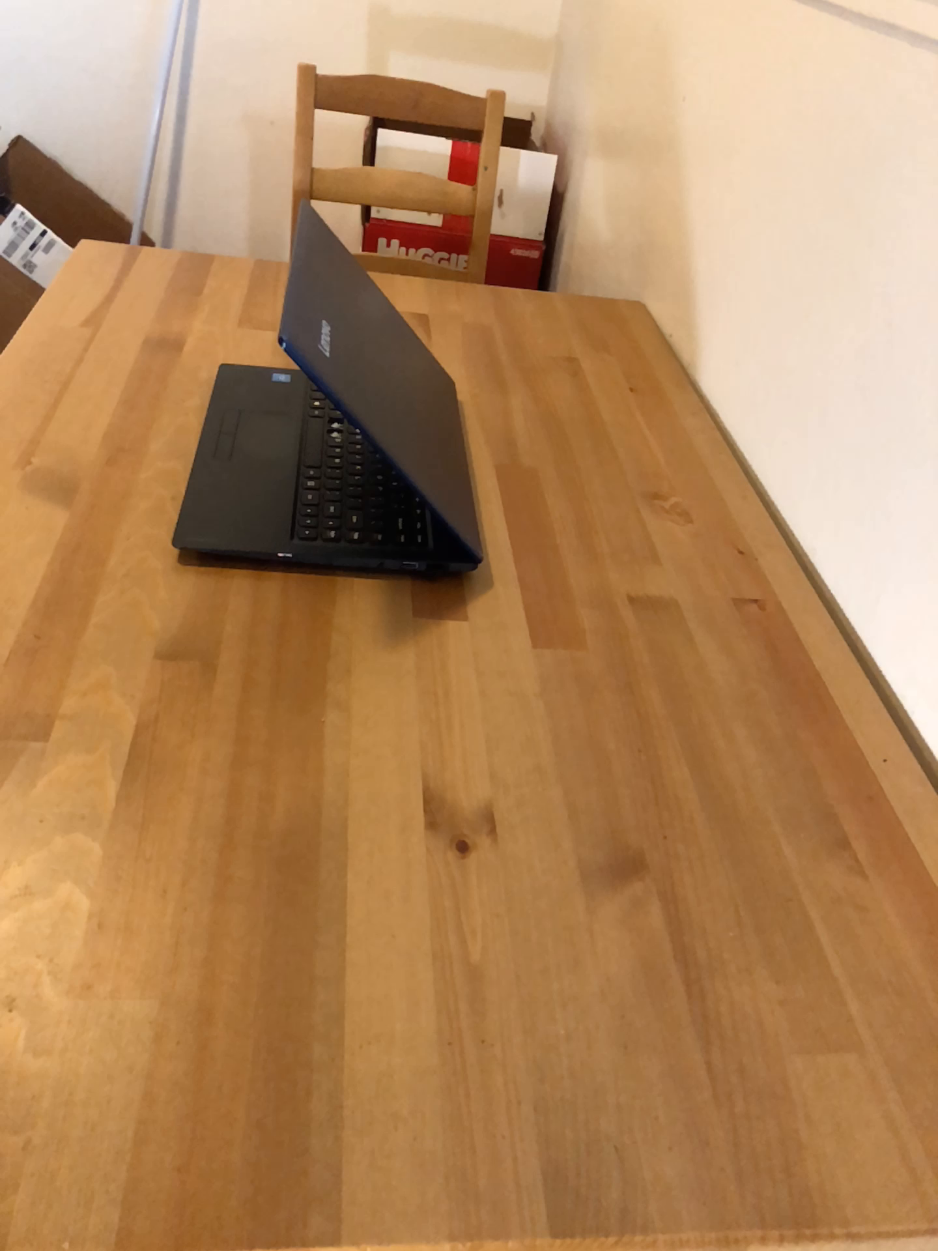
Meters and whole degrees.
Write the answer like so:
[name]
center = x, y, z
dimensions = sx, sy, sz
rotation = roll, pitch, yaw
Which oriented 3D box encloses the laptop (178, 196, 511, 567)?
[laptop]
center = -0.100, -0.212, 0.842
dimensions = 0.215, 0.161, 0.319
rotation = 3, 37, -7
